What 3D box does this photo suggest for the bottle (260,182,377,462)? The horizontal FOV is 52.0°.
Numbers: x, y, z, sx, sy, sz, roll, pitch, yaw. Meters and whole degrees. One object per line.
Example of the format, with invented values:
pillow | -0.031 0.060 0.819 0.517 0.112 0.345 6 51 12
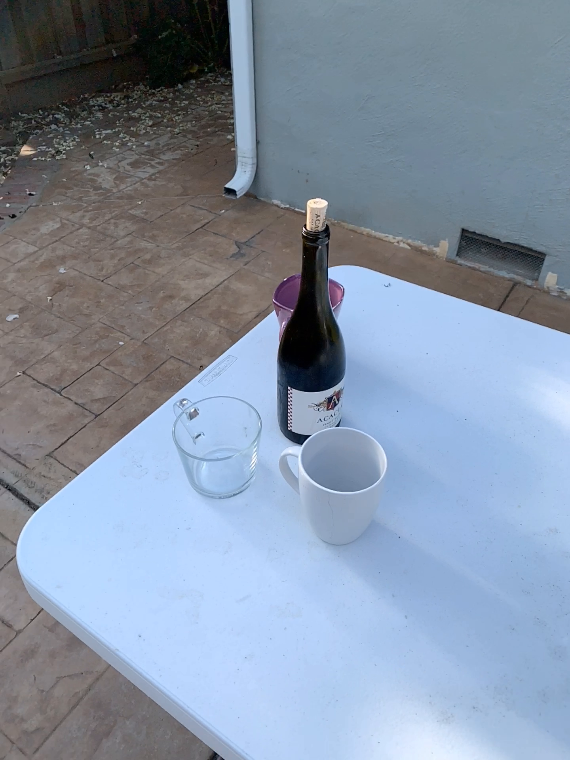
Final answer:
bottle | 0.032 -0.053 0.686 0.086 0.318 0.087 0 41 0
